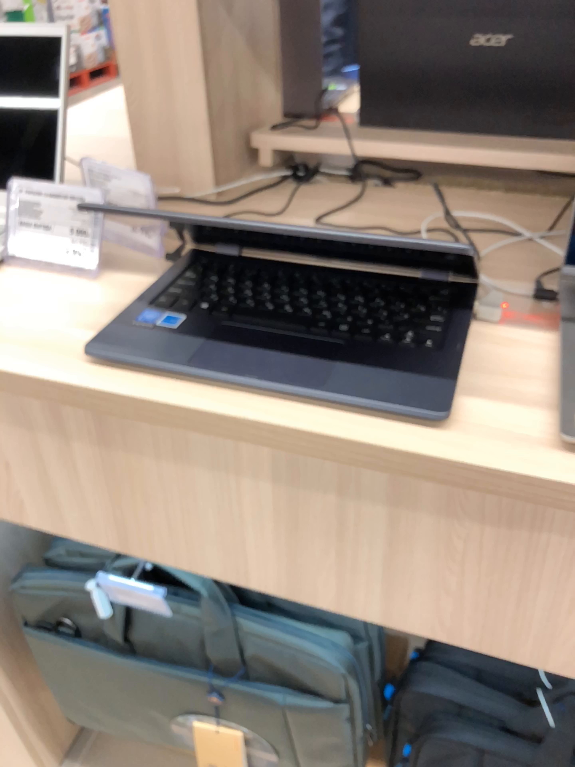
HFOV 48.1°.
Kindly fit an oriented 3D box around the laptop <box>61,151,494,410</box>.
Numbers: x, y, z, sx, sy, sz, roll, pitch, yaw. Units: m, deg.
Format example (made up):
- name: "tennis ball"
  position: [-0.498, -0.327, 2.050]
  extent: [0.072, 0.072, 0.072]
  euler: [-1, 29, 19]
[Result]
- name: "laptop"
  position: [0.004, -0.097, 0.505]
  extent: [0.272, 0.097, 0.185]
  euler: [10, 38, 17]
